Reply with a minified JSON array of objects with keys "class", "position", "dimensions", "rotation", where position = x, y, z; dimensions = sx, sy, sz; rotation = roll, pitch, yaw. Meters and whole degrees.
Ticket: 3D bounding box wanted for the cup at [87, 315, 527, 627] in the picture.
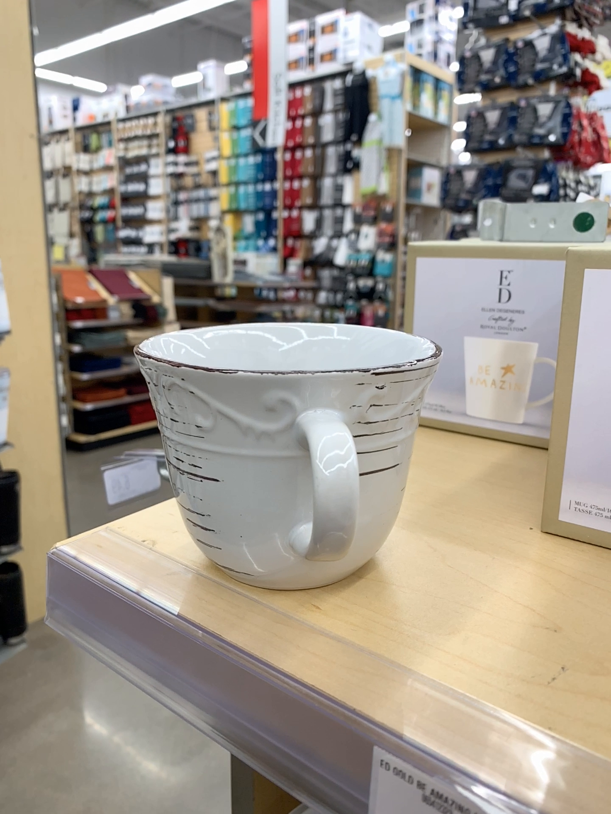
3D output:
[{"class":"cup","position":[-0.003,0.010,0.232],"dimensions":[0.113,0.075,0.125],"rotation":[1,13,0]}]
